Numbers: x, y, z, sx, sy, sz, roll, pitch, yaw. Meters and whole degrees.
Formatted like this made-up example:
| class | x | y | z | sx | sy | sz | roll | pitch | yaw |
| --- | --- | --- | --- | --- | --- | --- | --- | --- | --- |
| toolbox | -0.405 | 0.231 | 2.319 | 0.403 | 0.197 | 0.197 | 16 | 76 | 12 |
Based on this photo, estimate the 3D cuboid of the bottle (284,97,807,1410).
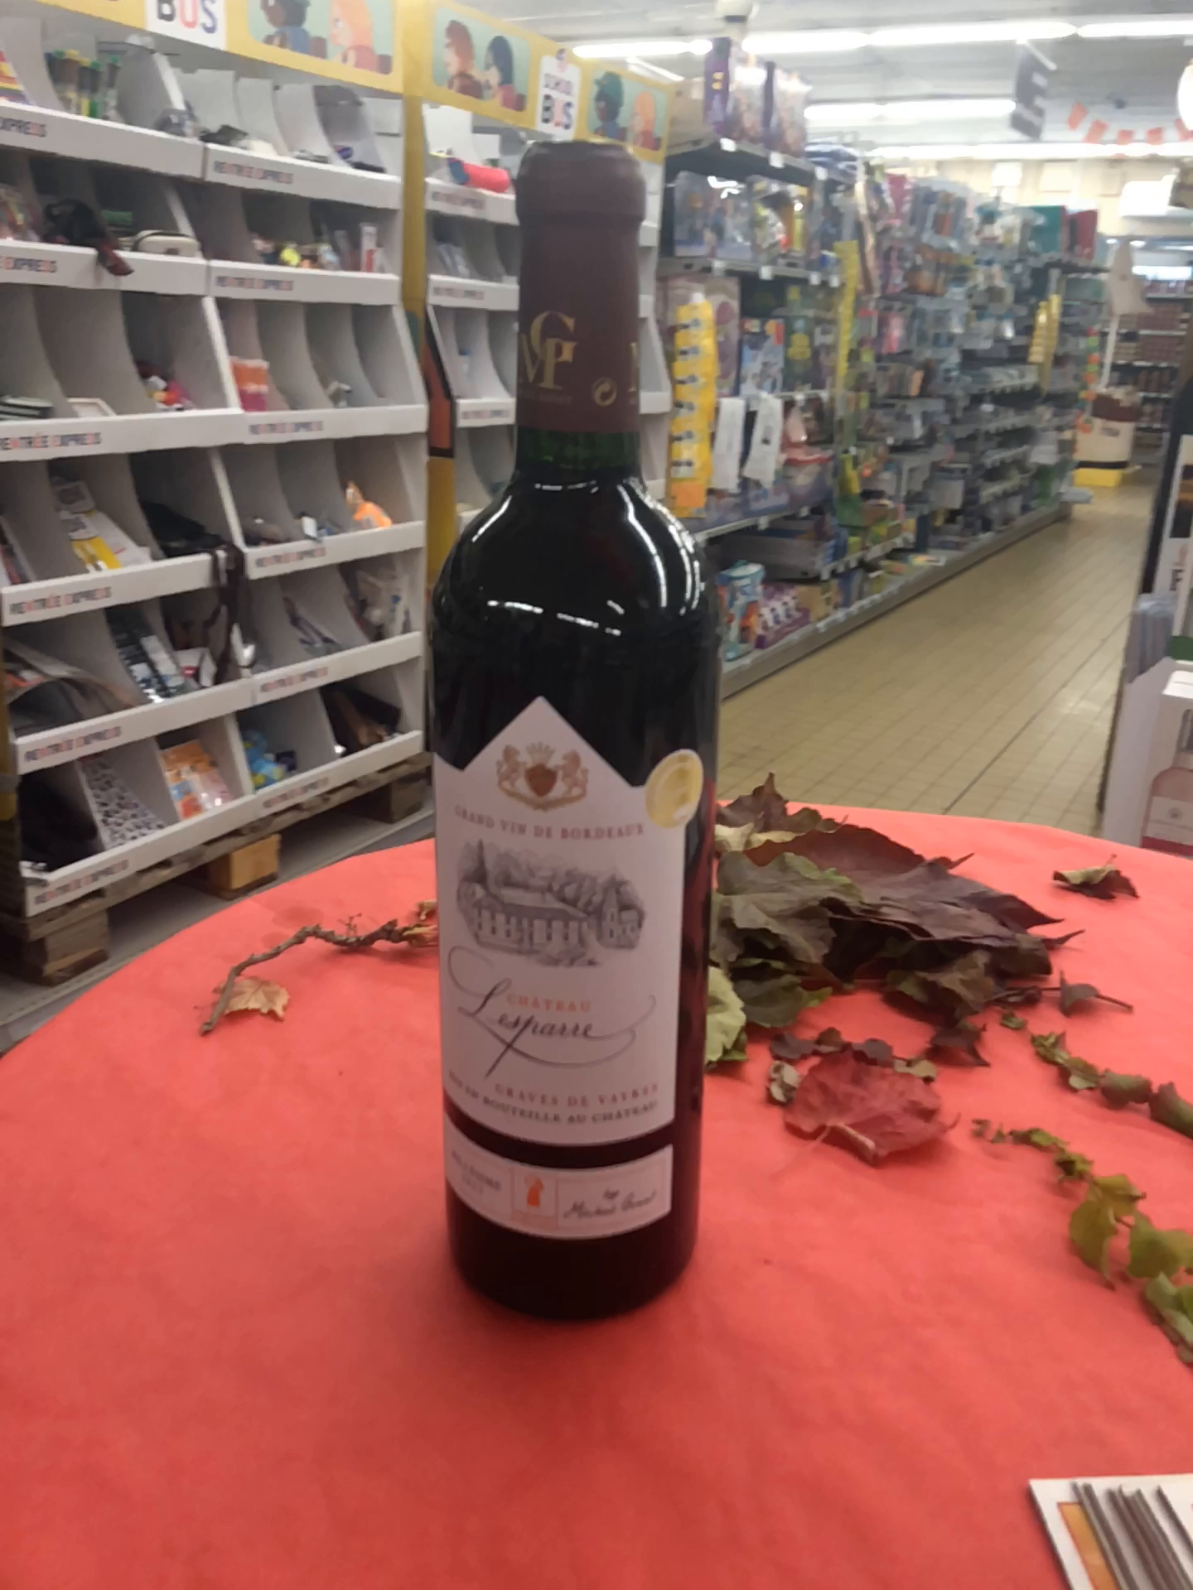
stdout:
| class | x | y | z | sx | sy | sz | roll | pitch | yaw |
| --- | --- | --- | --- | --- | --- | --- | --- | --- | --- |
| bottle | -0.013 | -0.004 | 0.336 | 0.090 | 0.299 | 0.091 | 3 | 19 | -1 |
